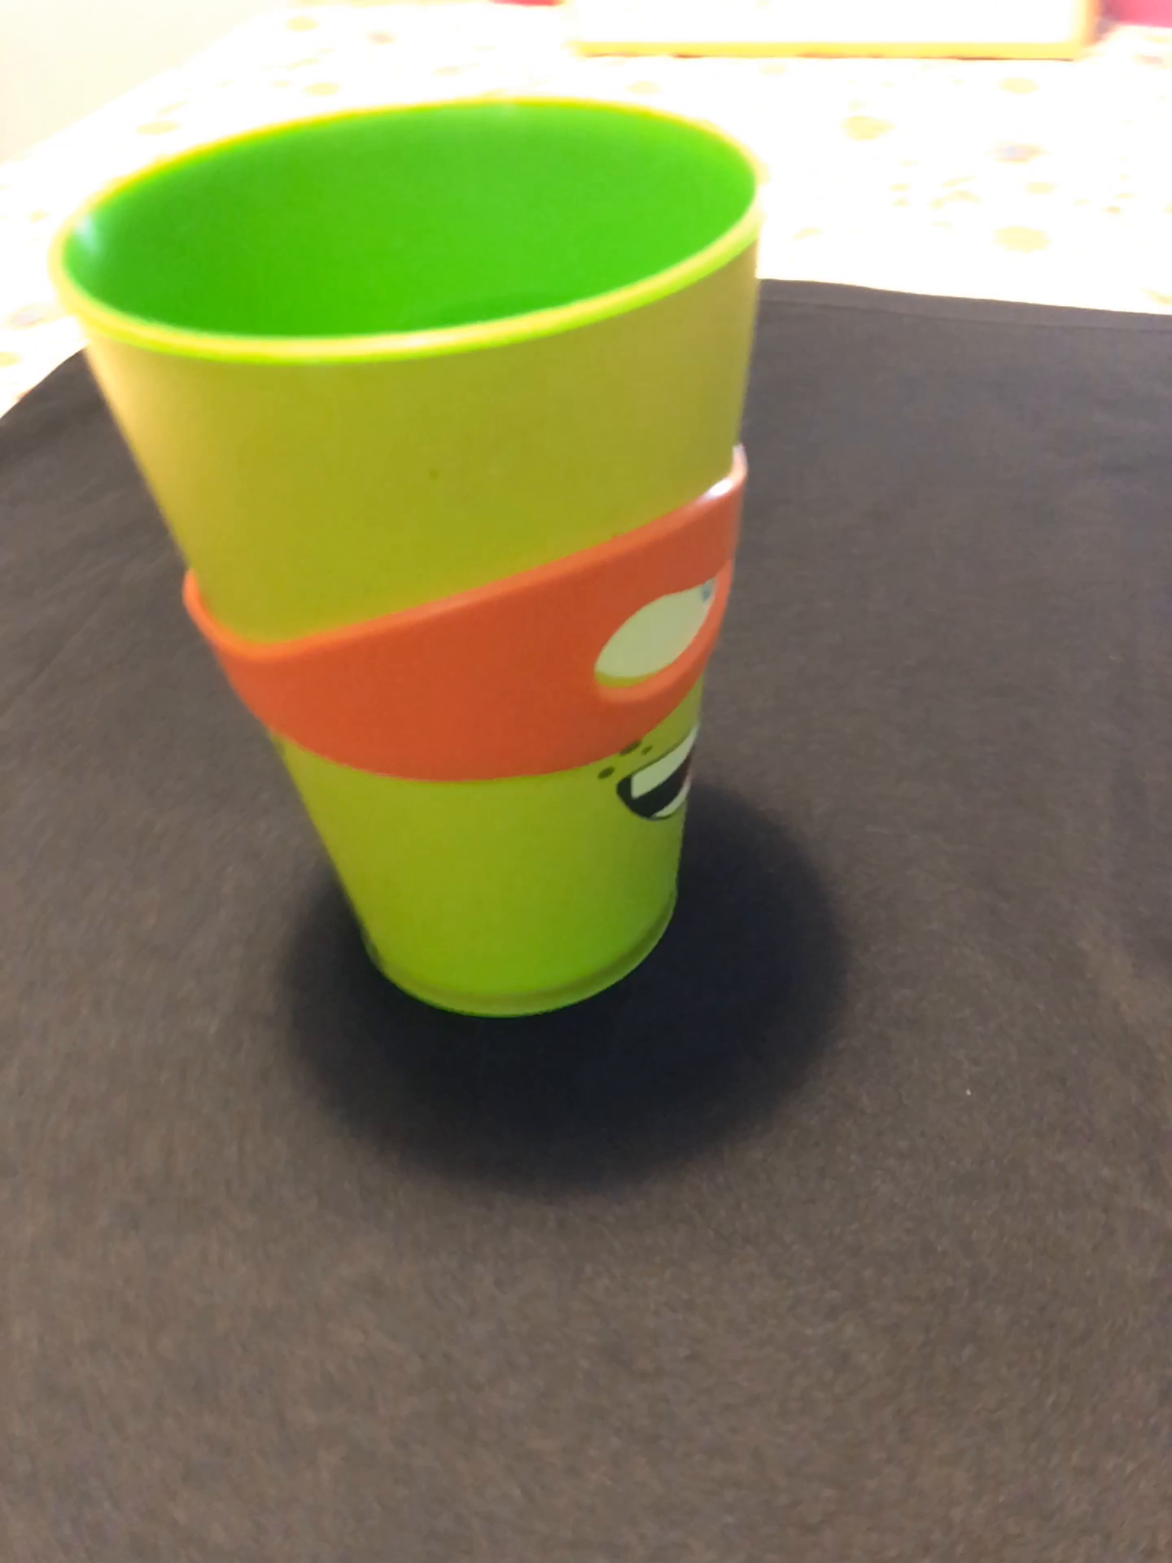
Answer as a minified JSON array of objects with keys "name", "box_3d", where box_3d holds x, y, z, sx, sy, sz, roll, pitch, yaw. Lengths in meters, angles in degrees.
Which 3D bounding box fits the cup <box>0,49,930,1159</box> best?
[{"name":"cup","box_3d":[-0.020,-0.028,0.221,0.110,0.139,0.101,-3,43,3]}]
